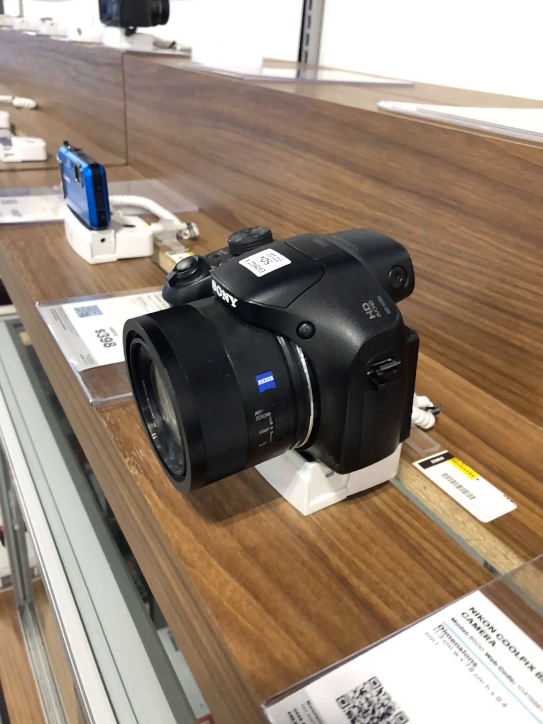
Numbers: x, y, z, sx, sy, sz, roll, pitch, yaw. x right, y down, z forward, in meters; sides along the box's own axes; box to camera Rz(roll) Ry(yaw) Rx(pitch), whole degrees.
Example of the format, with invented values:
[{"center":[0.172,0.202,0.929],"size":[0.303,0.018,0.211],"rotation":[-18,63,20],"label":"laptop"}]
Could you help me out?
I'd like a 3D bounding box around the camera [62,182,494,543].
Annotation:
[{"center":[-0.006,-0.018,0.270],"size":[0.130,0.089,0.131],"rotation":[-13,33,-30],"label":"camera"}]
